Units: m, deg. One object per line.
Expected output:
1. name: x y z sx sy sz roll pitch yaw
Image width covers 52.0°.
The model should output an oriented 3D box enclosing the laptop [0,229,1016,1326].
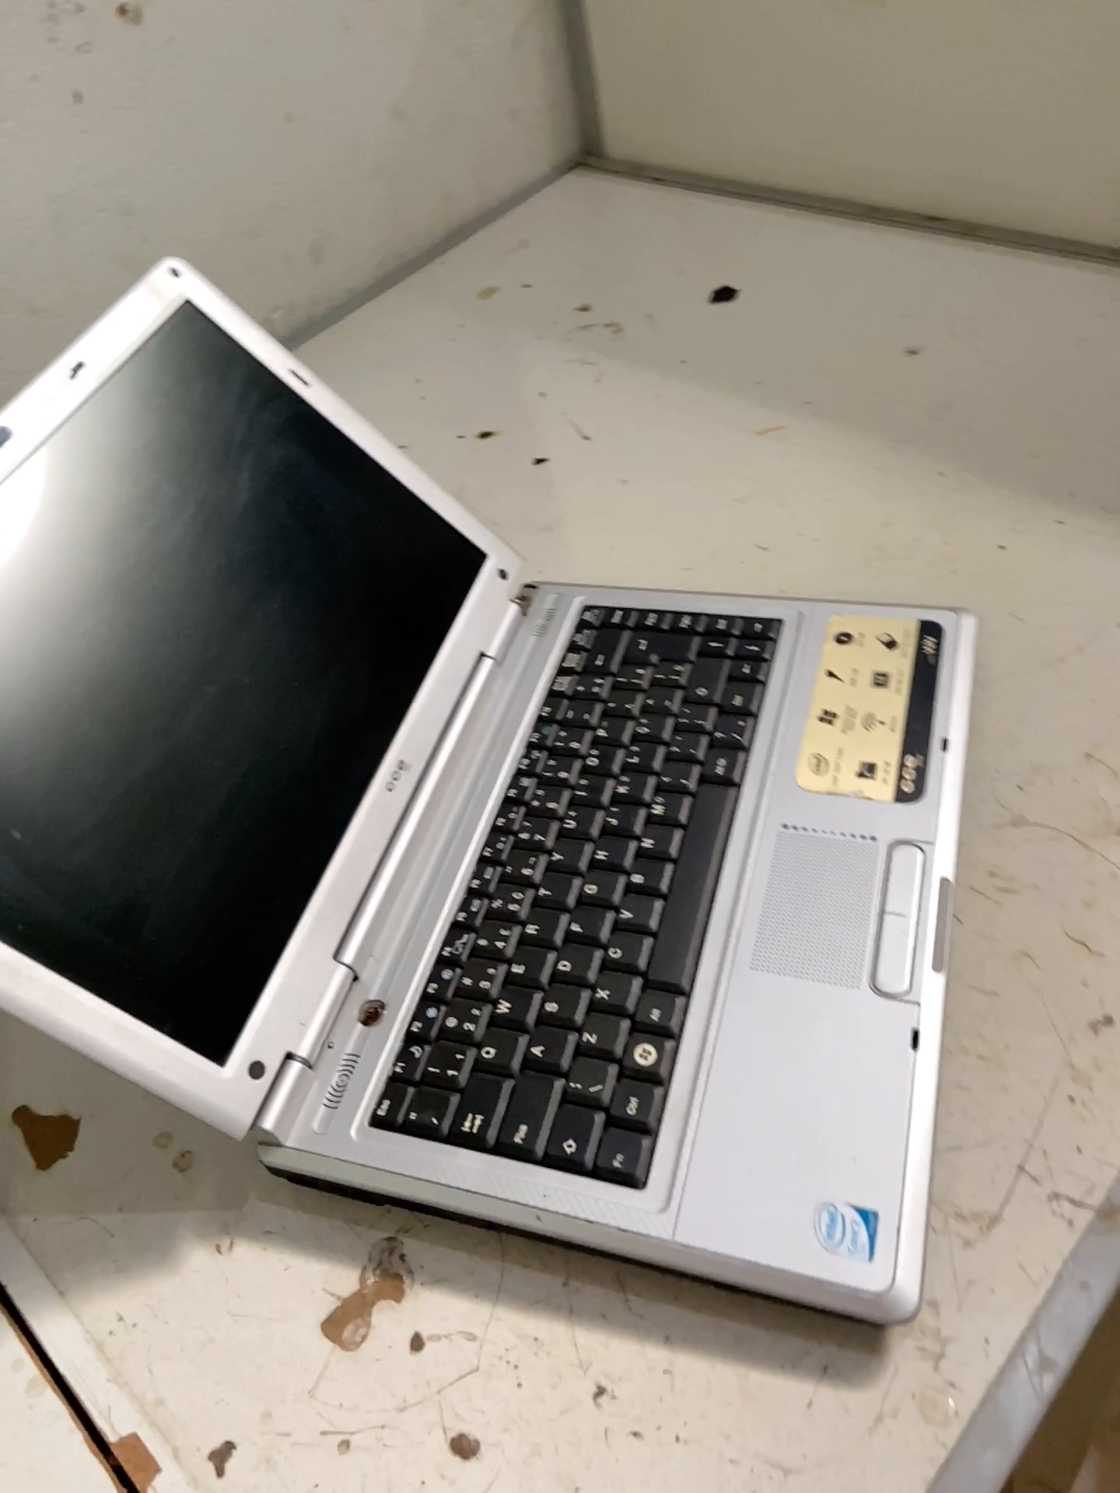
1. laptop: -0.041 -0.029 0.457 0.387 0.190 0.340 7 49 18
